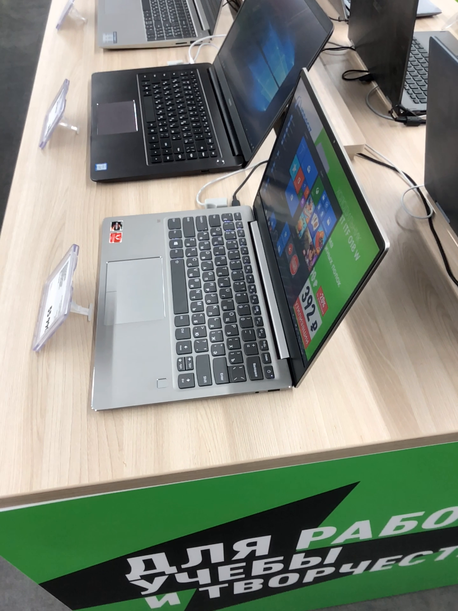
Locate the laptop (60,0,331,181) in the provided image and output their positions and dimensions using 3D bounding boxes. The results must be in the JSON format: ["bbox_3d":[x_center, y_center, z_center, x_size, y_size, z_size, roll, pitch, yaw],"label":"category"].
[{"bbox_3d":[-0.064,-0.400,0.807,0.339,0.188,0.346,-8,50,-5],"label":"laptop"}]

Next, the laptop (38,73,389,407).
[{"bbox_3d":[-0.026,-0.079,0.537,0.261,0.187,0.286,-6,50,-3],"label":"laptop"}]
